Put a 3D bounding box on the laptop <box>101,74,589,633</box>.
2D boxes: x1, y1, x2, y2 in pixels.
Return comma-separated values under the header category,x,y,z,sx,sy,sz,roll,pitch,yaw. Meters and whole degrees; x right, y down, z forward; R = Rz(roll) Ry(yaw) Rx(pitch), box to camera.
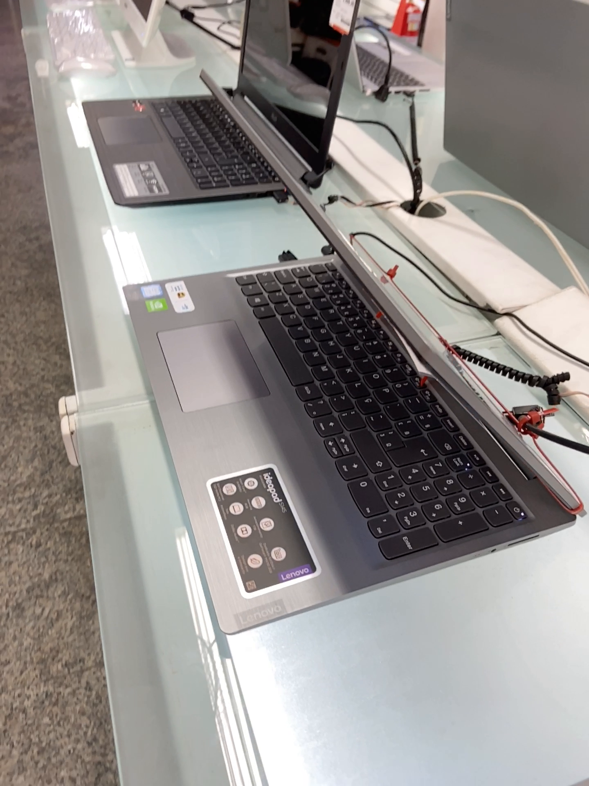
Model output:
category,x,y,z,sx,sy,sz,roll,pitch,yaw
laptop,0.021,-0.075,0.437,0.244,0.175,0.361,-12,44,-17
